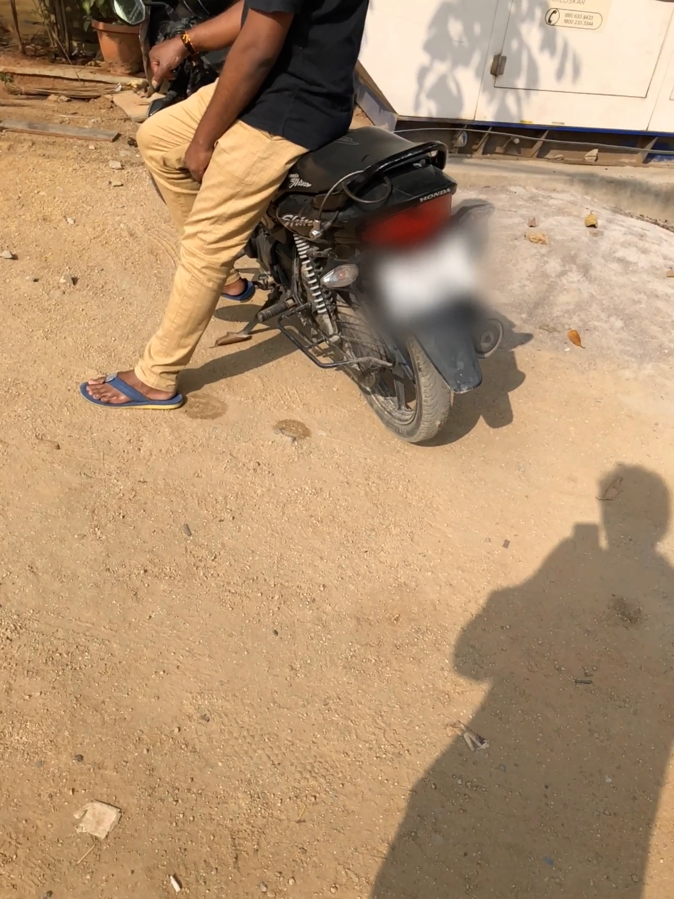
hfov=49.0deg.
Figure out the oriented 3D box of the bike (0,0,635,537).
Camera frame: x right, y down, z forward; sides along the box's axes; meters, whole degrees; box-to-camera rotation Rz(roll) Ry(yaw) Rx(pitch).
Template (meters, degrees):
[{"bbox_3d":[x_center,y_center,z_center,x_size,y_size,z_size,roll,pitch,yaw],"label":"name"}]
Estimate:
[{"bbox_3d":[-0.298,-0.854,2.189,0.883,1.213,1.695,-19,44,-31],"label":"bike"}]
